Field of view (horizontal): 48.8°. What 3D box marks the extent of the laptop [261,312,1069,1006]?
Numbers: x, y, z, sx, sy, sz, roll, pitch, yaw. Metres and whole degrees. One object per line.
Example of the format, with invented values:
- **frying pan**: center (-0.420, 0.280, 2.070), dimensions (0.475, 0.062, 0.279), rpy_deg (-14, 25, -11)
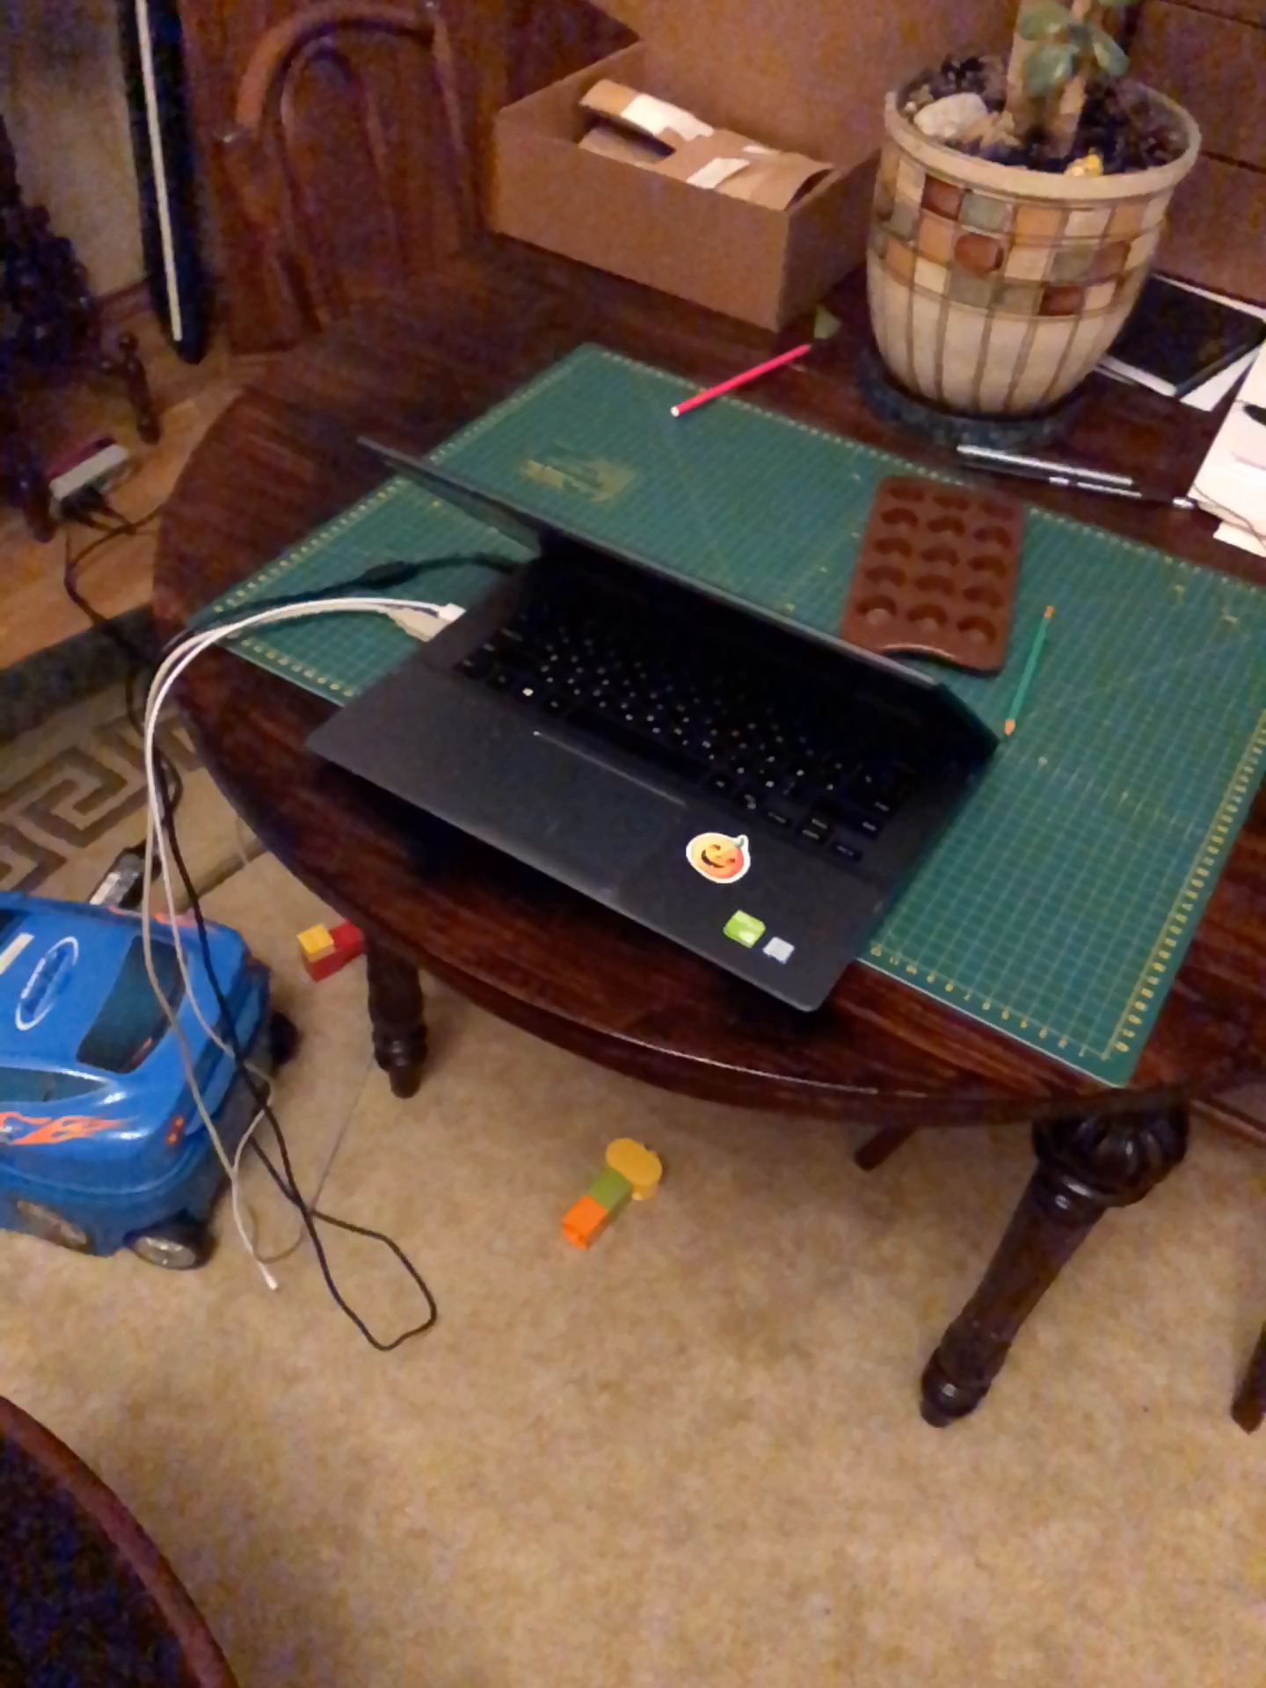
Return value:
- **laptop**: center (0.015, -0.112, 0.729), dimensions (0.317, 0.162, 0.225), rpy_deg (27, 51, 20)
